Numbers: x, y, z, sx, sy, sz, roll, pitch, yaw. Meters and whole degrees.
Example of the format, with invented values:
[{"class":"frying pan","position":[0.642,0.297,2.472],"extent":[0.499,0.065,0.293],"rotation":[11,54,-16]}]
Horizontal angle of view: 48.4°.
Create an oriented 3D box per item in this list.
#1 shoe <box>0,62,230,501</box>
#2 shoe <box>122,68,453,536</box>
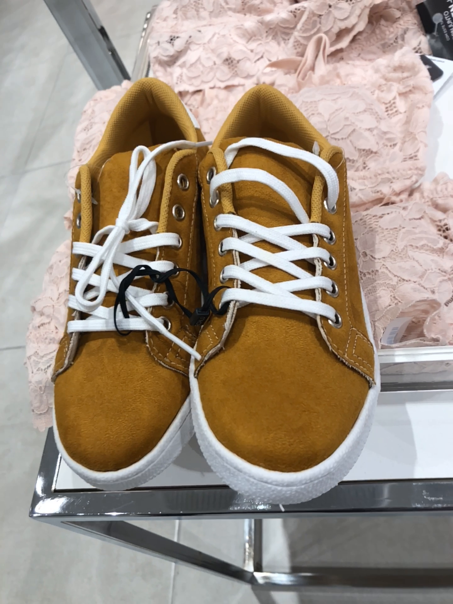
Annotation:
[{"class":"shoe","position":[-0.050,-0.027,0.289],"extent":[0.090,0.099,0.241],"rotation":[1,53,4]},{"class":"shoe","position":[0.023,-0.020,0.268],"extent":[0.100,0.099,0.241],"rotation":[0,48,3]}]
